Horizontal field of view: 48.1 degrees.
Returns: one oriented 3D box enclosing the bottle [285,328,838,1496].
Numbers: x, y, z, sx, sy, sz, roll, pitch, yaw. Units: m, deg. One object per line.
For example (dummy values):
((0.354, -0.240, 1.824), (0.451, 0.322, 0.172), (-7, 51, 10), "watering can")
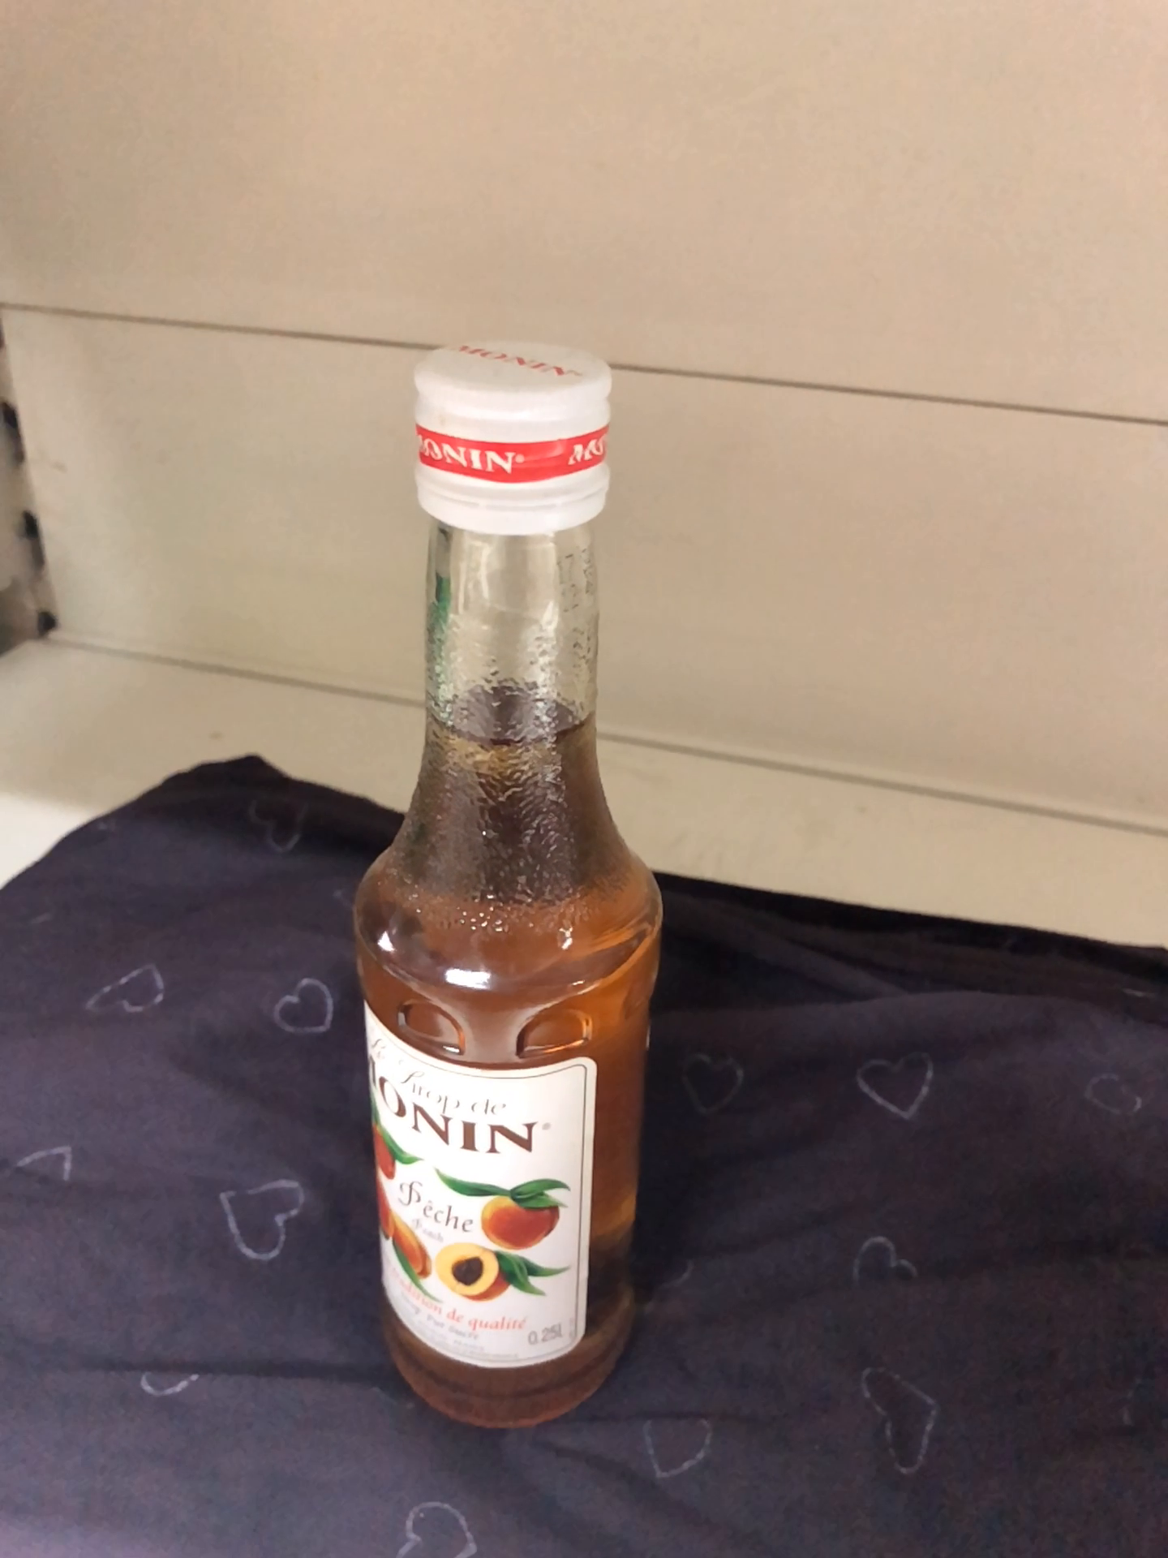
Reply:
((-0.006, 0.031, 0.249), (0.060, 0.209, 0.060), (2, 28, -1), "bottle")
